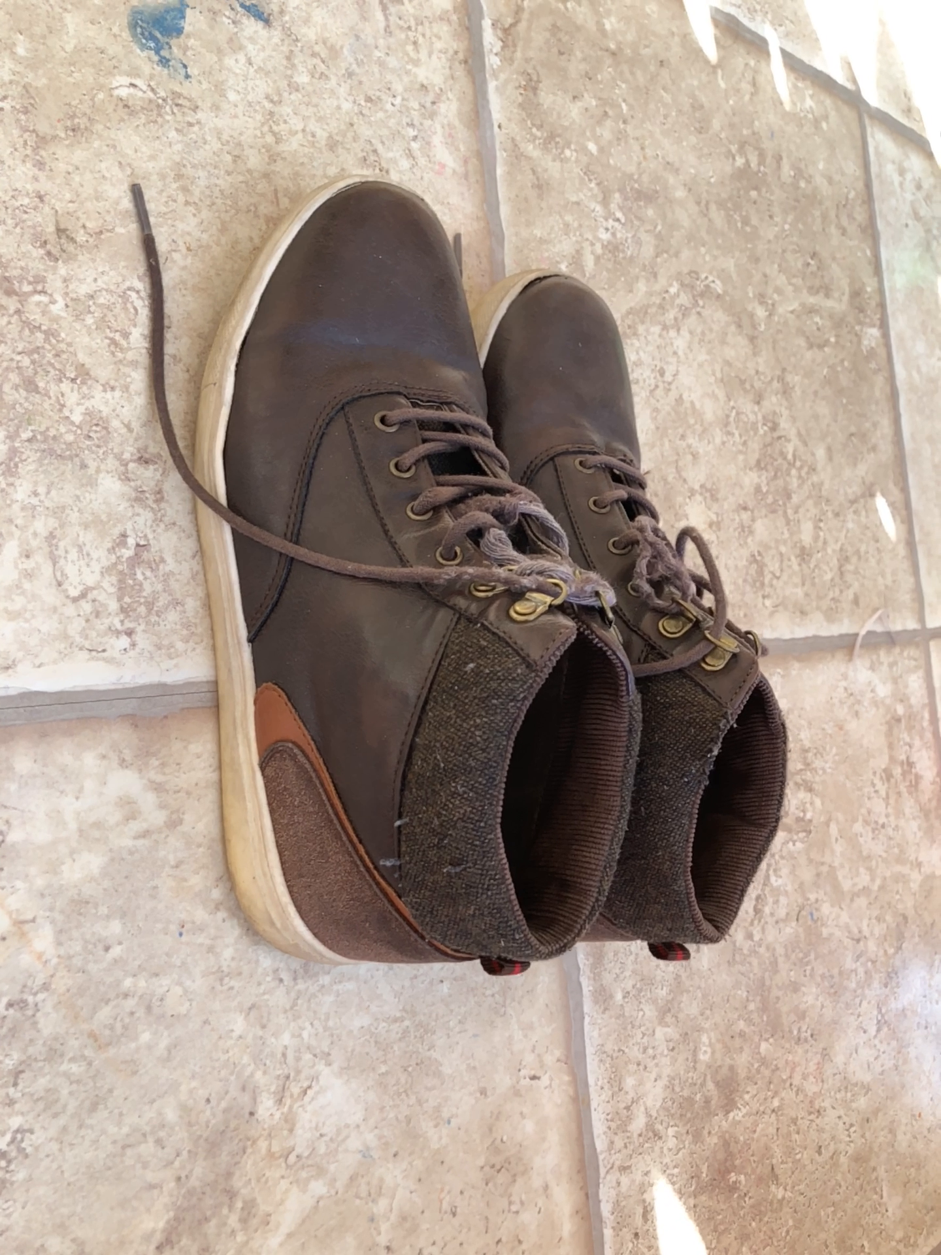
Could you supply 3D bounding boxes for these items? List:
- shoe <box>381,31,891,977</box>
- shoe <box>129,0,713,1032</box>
[{"bbox_3d":[0.056,-0.035,0.414,0.110,0.149,0.300,6,79,-41],"label":"shoe"},{"bbox_3d":[-0.026,-0.047,0.344,0.111,0.149,0.300,3,81,-42],"label":"shoe"}]
